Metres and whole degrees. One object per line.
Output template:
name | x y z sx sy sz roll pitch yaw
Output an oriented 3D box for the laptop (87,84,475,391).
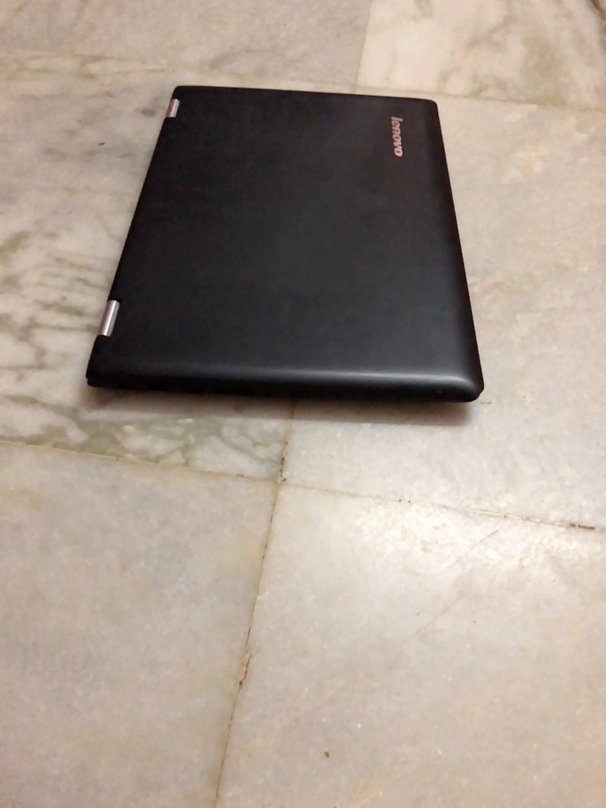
laptop | -0.006 -0.143 0.486 0.222 0.002 0.330 3 52 -1
